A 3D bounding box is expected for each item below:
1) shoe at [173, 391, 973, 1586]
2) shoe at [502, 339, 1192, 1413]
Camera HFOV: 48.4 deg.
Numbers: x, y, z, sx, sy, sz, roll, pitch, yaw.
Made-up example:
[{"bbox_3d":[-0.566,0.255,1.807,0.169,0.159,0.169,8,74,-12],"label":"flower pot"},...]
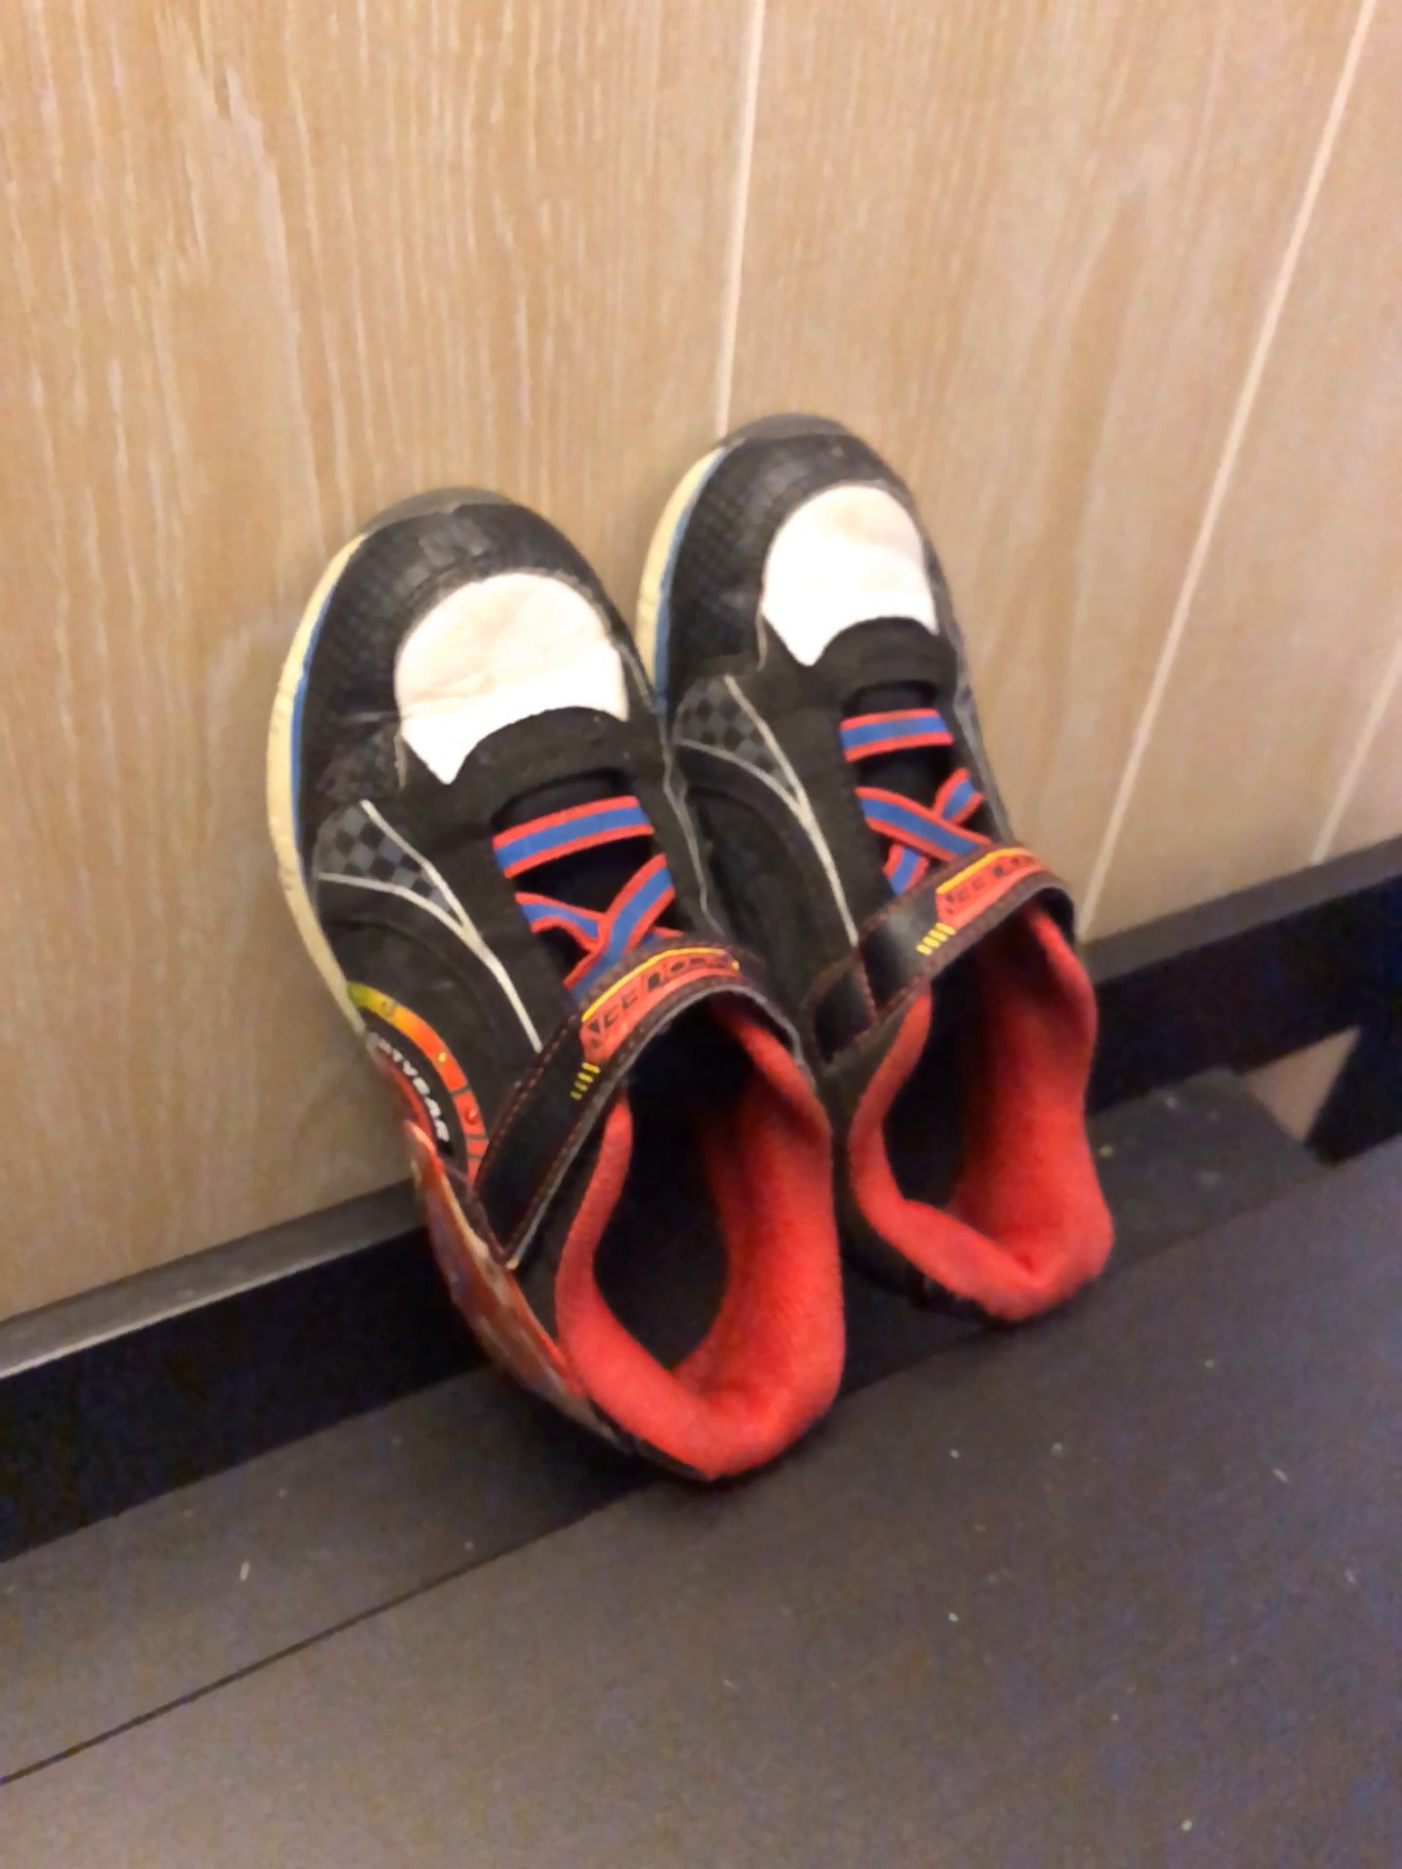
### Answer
[{"bbox_3d":[-0.029,0.007,0.316,0.090,0.200,0.070,-17,2,-24],"label":"shoe"},{"bbox_3d":[0.032,-0.015,0.360,0.090,0.210,0.070,-16,6,-23],"label":"shoe"}]
